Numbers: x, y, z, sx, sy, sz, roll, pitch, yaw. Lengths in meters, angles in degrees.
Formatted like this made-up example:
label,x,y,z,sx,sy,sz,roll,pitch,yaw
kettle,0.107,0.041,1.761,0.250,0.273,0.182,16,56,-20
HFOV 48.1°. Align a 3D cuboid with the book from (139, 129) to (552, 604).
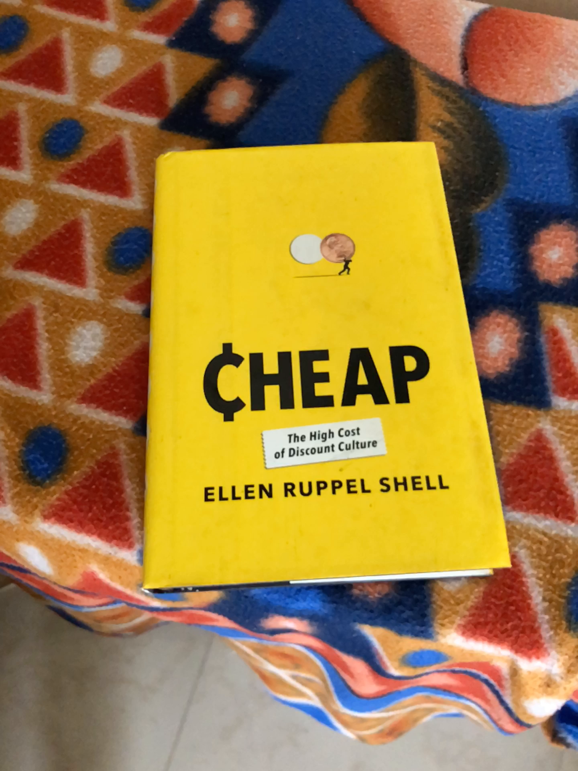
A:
label,x,y,z,sx,sy,sz,roll,pitch,yaw
book,0.017,-0.023,0.325,0.170,0.030,0.240,-3,67,-3
